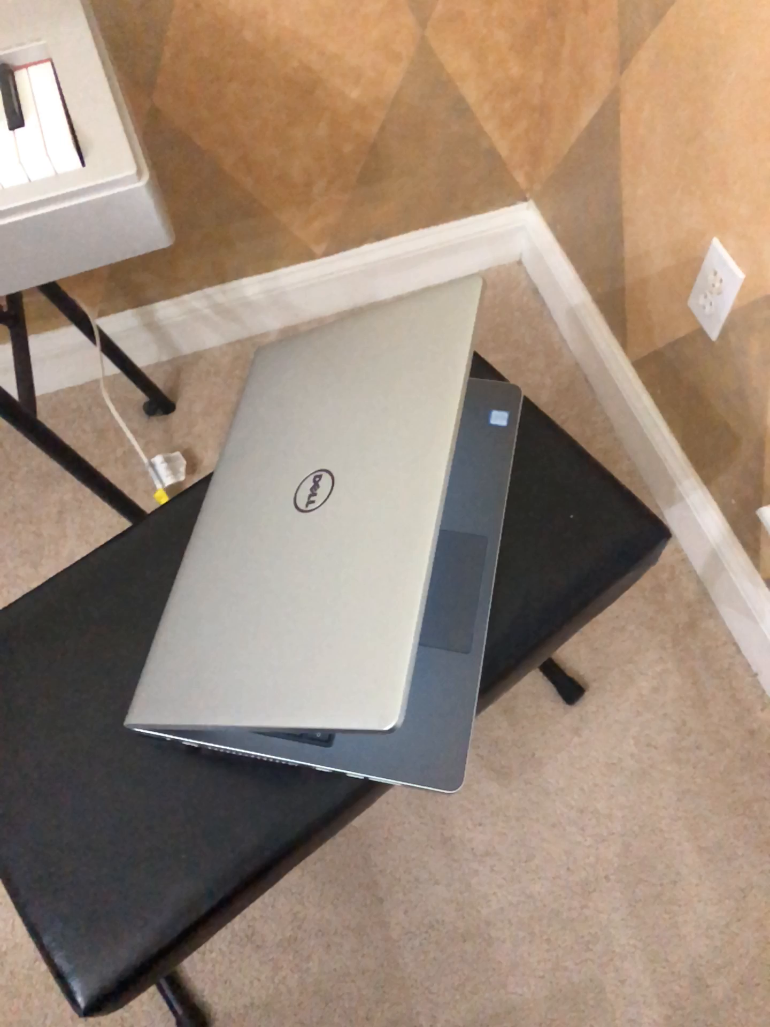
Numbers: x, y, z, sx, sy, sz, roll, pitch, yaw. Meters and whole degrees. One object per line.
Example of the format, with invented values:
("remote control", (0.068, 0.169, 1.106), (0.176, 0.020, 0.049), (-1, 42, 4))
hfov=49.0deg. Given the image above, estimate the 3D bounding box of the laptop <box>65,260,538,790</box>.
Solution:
("laptop", (-0.038, -0.004, 0.680), (0.261, 0.137, 0.376), (9, 62, 7))
